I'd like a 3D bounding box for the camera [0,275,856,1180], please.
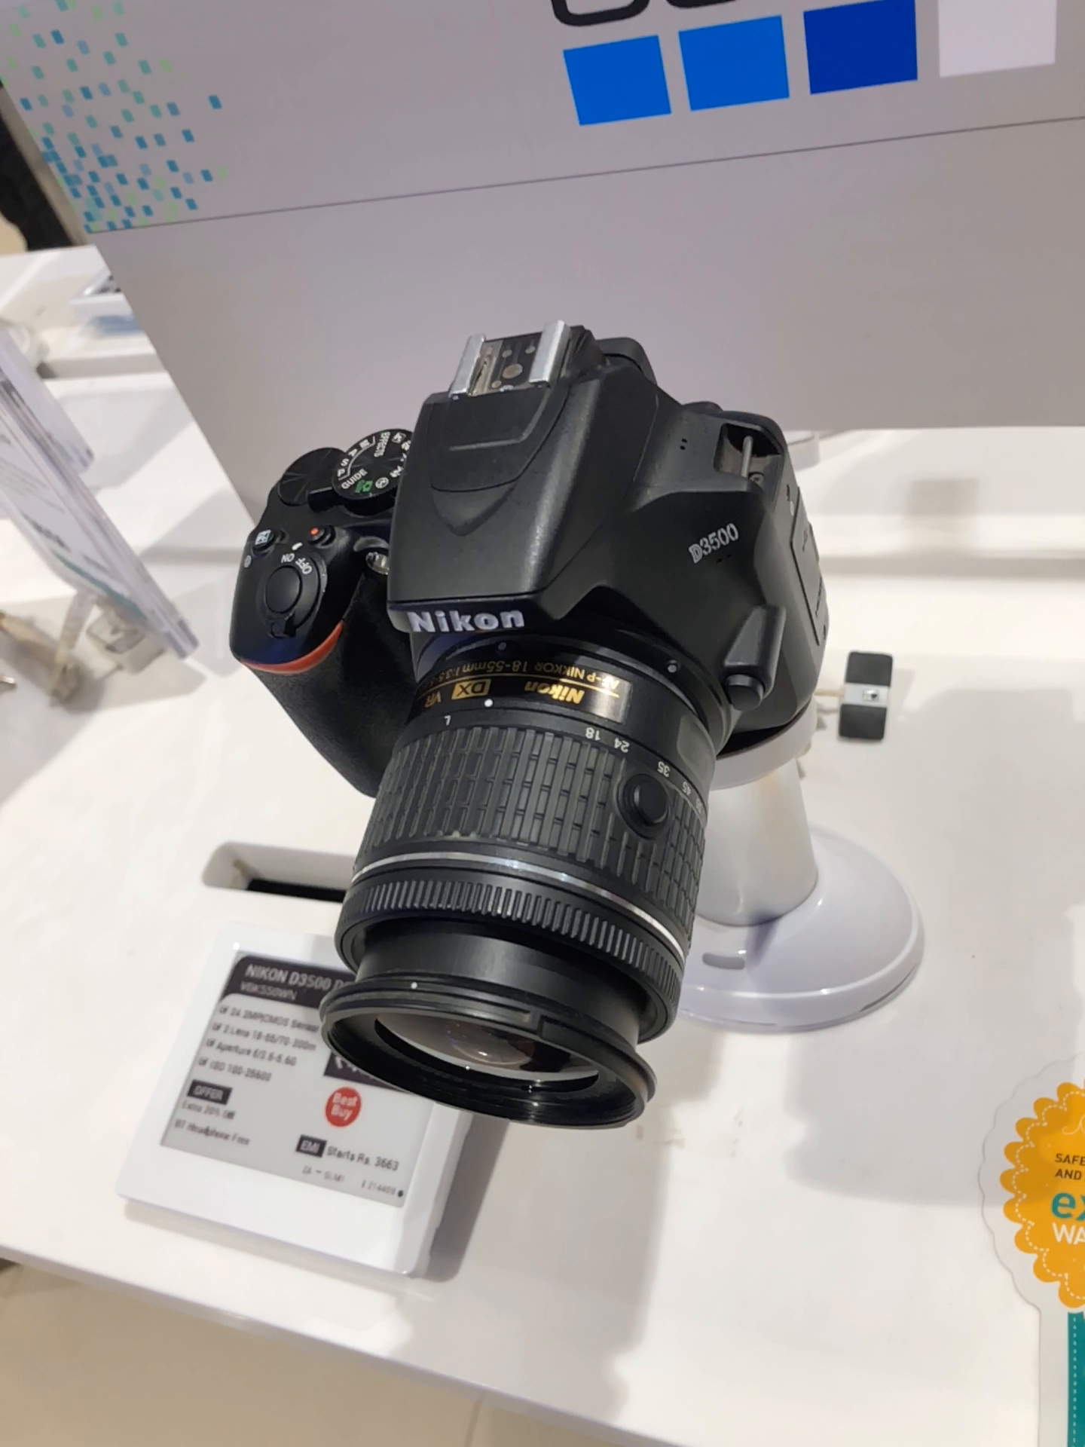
[{"bbox_3d":[-0.011,0.001,0.220,0.120,0.089,0.121,-1,52,20],"label":"camera"}]
